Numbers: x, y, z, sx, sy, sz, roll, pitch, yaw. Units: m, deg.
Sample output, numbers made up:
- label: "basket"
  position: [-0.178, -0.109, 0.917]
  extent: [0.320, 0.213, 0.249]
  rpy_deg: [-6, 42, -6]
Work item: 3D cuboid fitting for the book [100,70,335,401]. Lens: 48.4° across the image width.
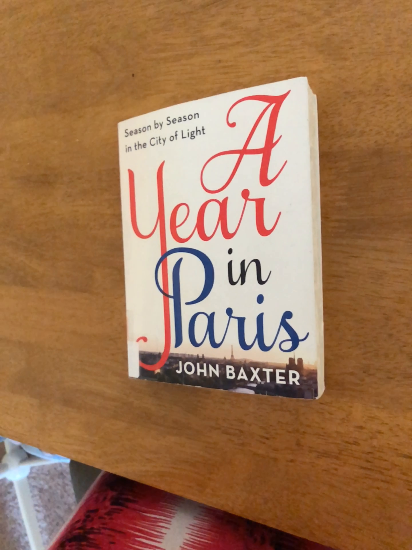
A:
- label: "book"
  position: [0.003, -0.020, 0.306]
  extent: [0.150, 0.040, 0.182]
  rpy_deg: [-1, 91, 29]
